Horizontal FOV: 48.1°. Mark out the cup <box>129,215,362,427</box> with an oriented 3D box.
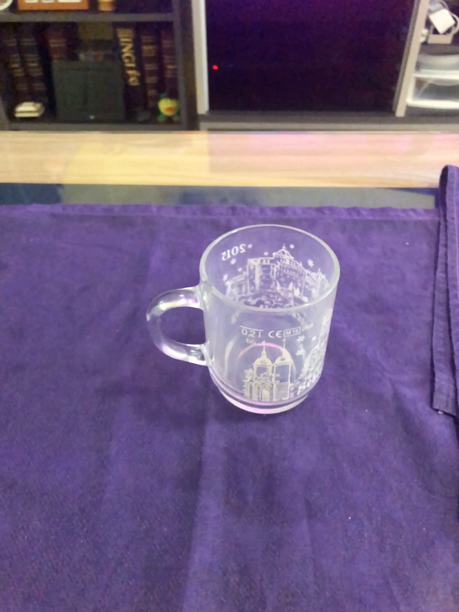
[{"bbox_3d":[0.006,0.008,0.272,0.100,0.080,0.070,-4,42,-2],"label":"cup"}]
